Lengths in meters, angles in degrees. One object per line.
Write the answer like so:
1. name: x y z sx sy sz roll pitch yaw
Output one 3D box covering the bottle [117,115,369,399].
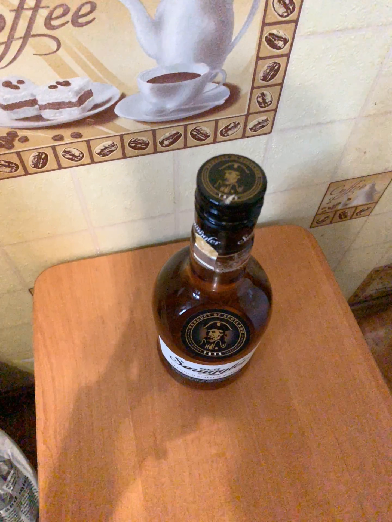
1. bottle: 0.015 0.024 0.277 0.100 0.229 0.080 2 57 -2
